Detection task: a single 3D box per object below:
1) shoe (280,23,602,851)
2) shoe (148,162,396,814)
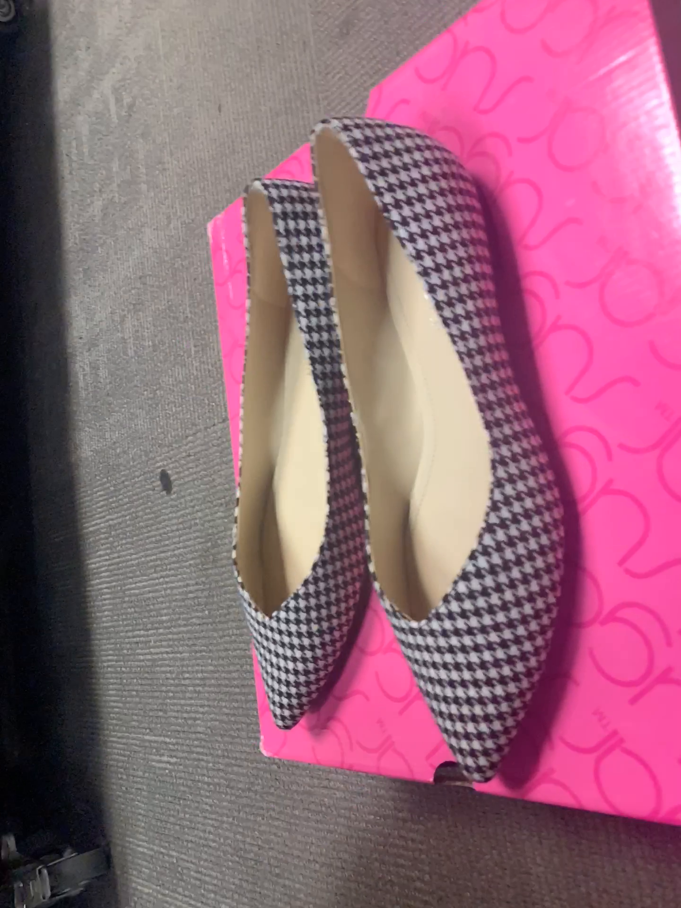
[{"bbox_3d":[0.034,-0.010,0.280,0.080,0.060,0.280,-13,79,45],"label":"shoe"},{"bbox_3d":[-0.036,0.014,0.335,0.080,0.060,0.270,8,94,46],"label":"shoe"}]
